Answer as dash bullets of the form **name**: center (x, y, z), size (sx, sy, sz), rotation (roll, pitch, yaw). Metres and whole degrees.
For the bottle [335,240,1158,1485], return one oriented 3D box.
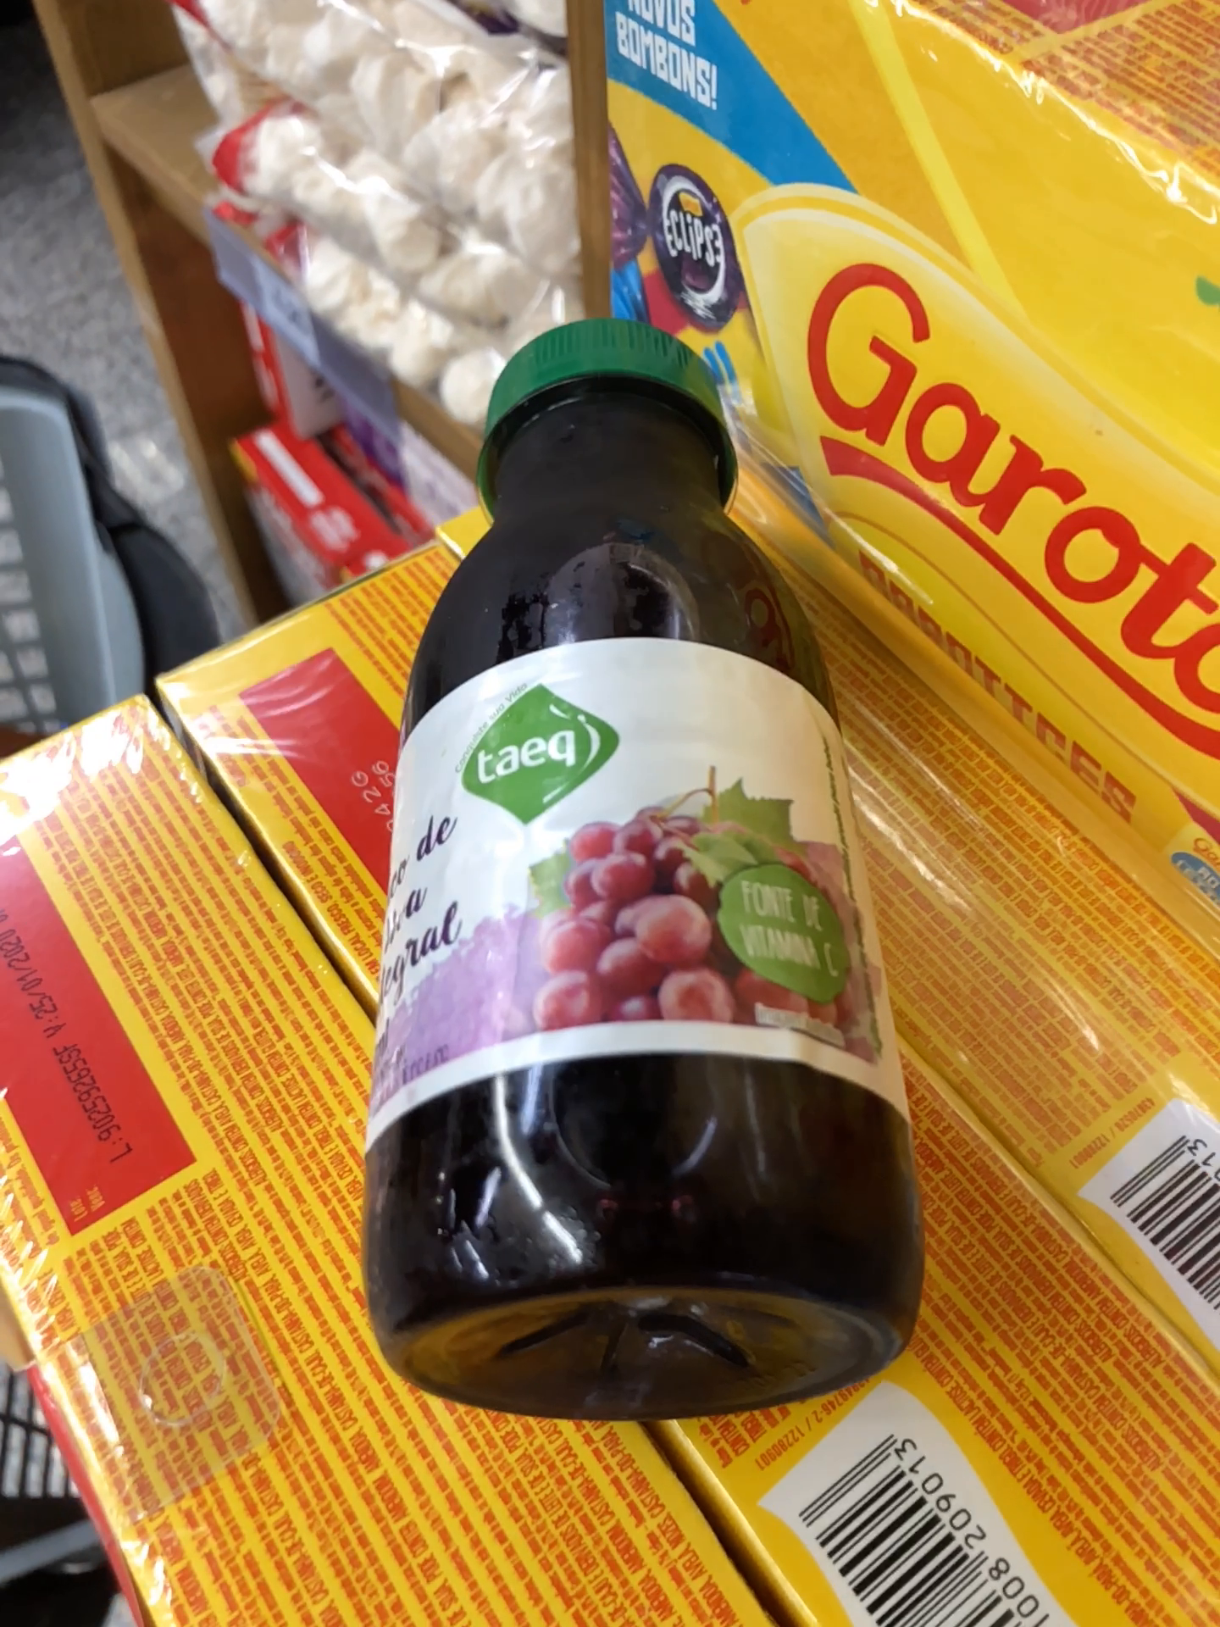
- **bottle**: center (0.010, -0.008, 0.188), size (0.070, 0.050, 0.171), rotation (-2, 53, 0)
